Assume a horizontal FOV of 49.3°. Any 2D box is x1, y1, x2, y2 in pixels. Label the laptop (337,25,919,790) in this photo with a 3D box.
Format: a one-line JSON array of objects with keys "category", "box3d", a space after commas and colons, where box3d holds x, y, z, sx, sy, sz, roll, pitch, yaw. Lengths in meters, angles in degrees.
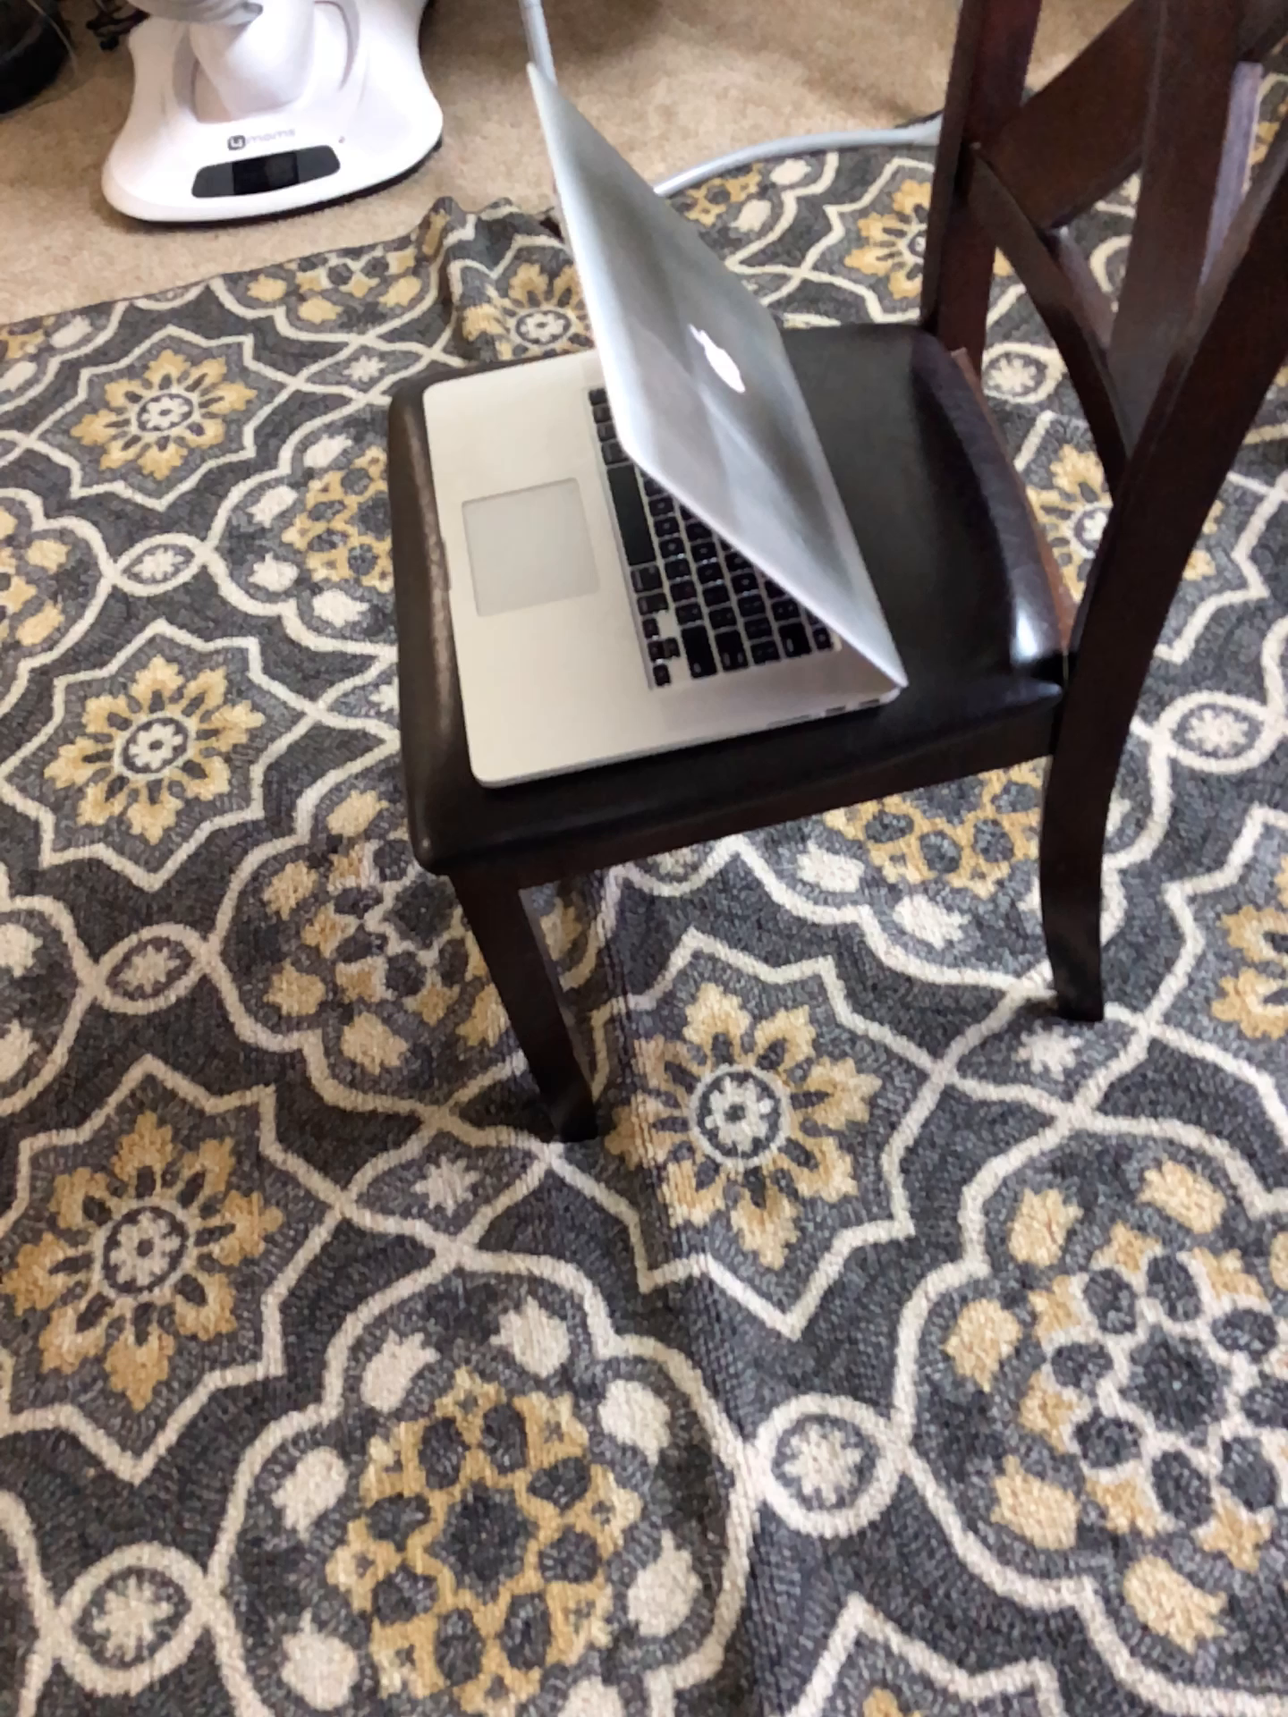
[{"category": "laptop", "box3d": [-0.016, -0.257, 0.786, 0.237, 0.200, 0.352, -12, 56, 0]}]
